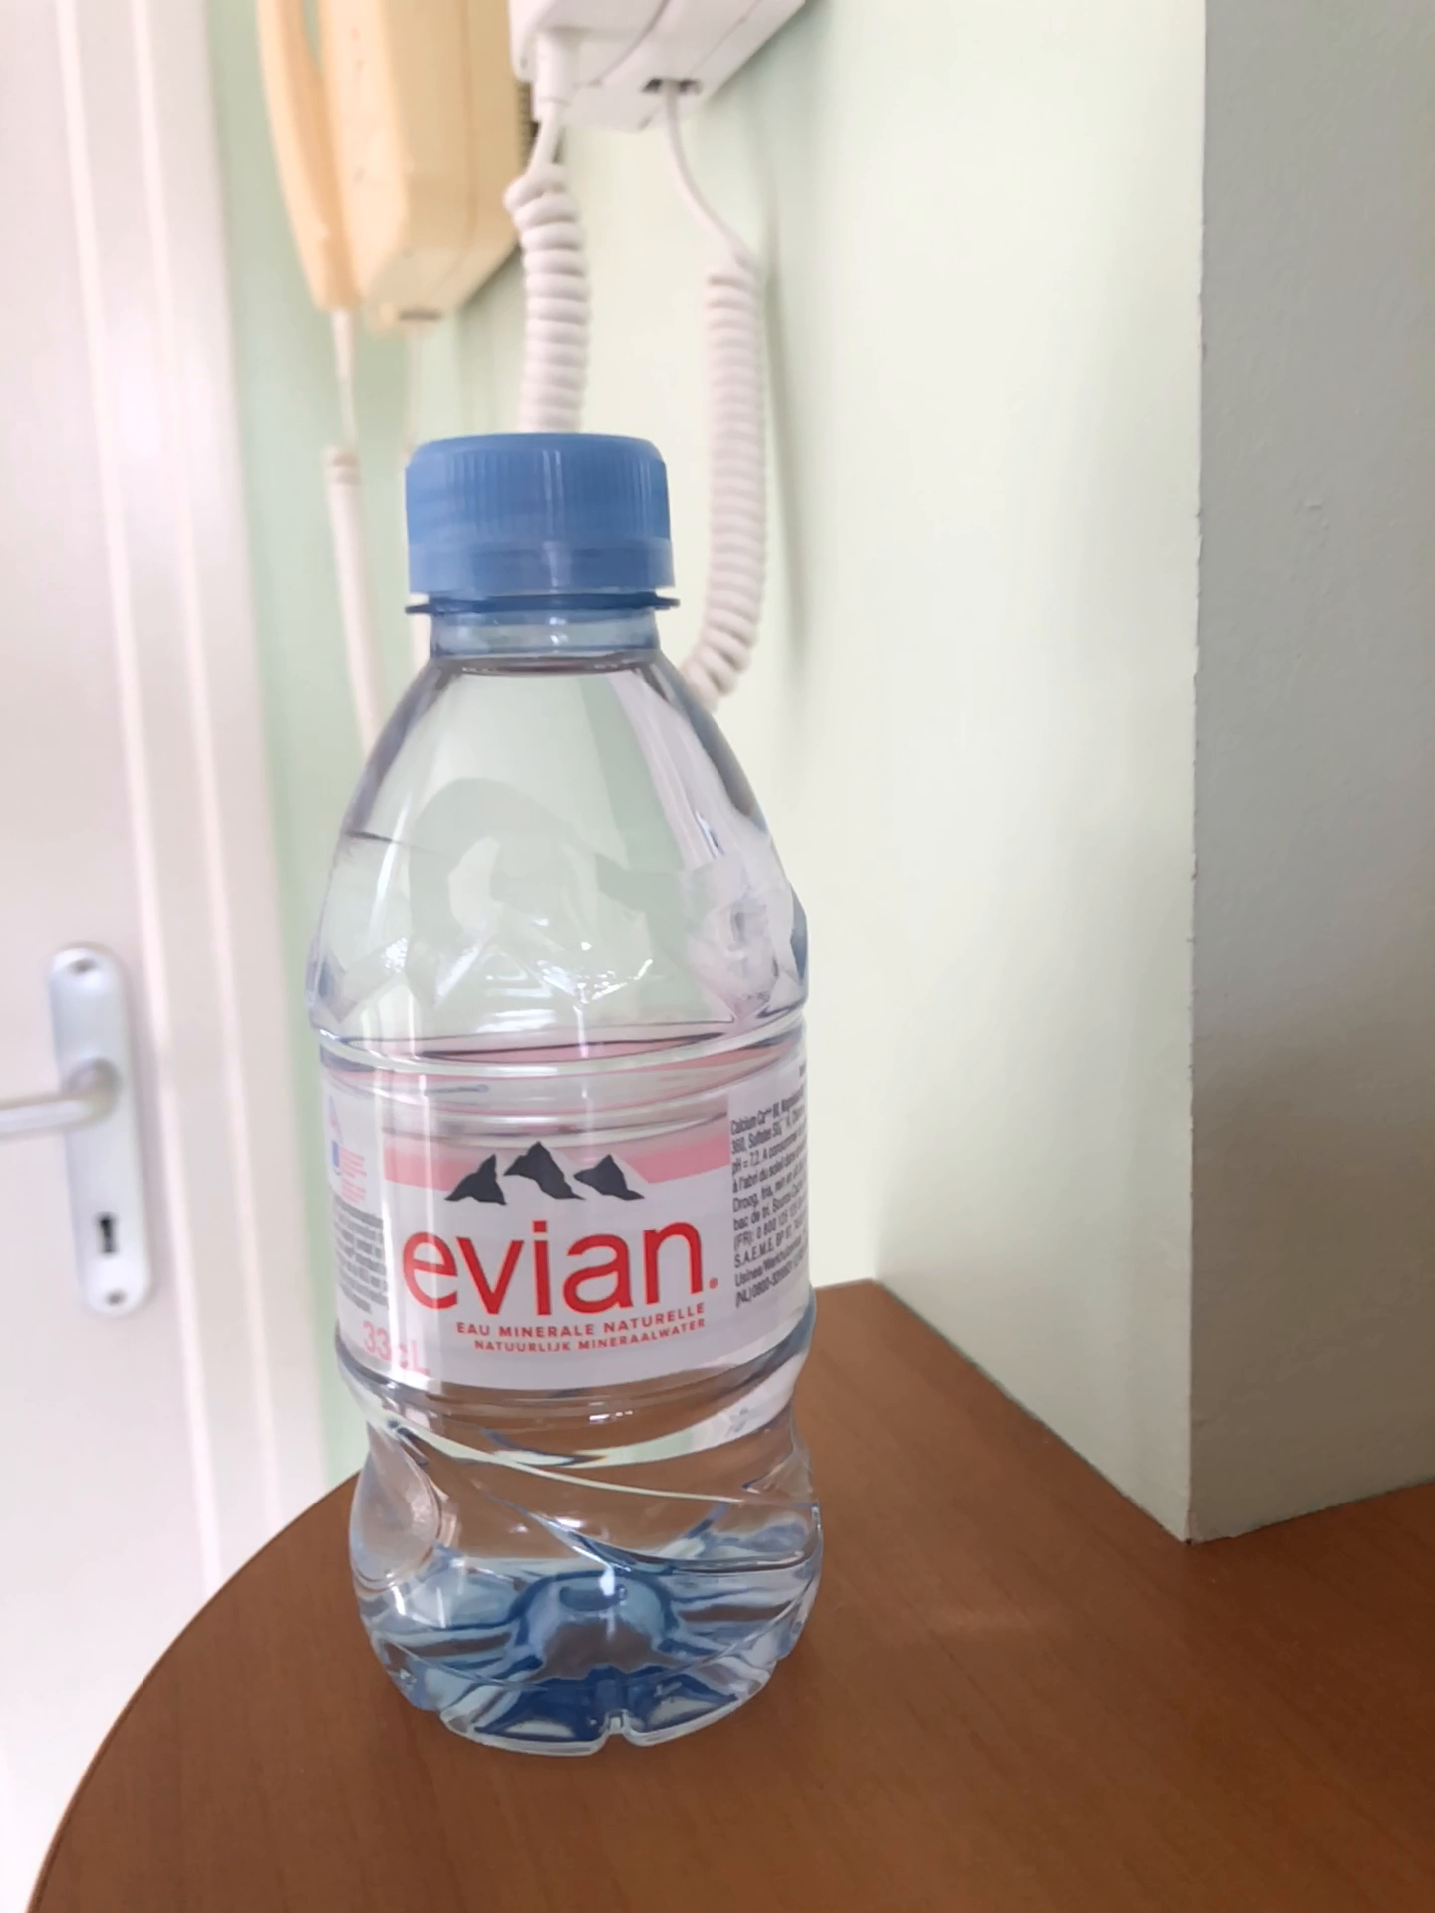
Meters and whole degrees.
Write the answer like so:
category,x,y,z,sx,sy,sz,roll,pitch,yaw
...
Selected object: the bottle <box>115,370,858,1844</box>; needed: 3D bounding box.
category,x,y,z,sx,sy,sz,roll,pitch,yaw
bottle,-0.021,0.016,0.205,0.070,0.160,0.070,-2,10,0
